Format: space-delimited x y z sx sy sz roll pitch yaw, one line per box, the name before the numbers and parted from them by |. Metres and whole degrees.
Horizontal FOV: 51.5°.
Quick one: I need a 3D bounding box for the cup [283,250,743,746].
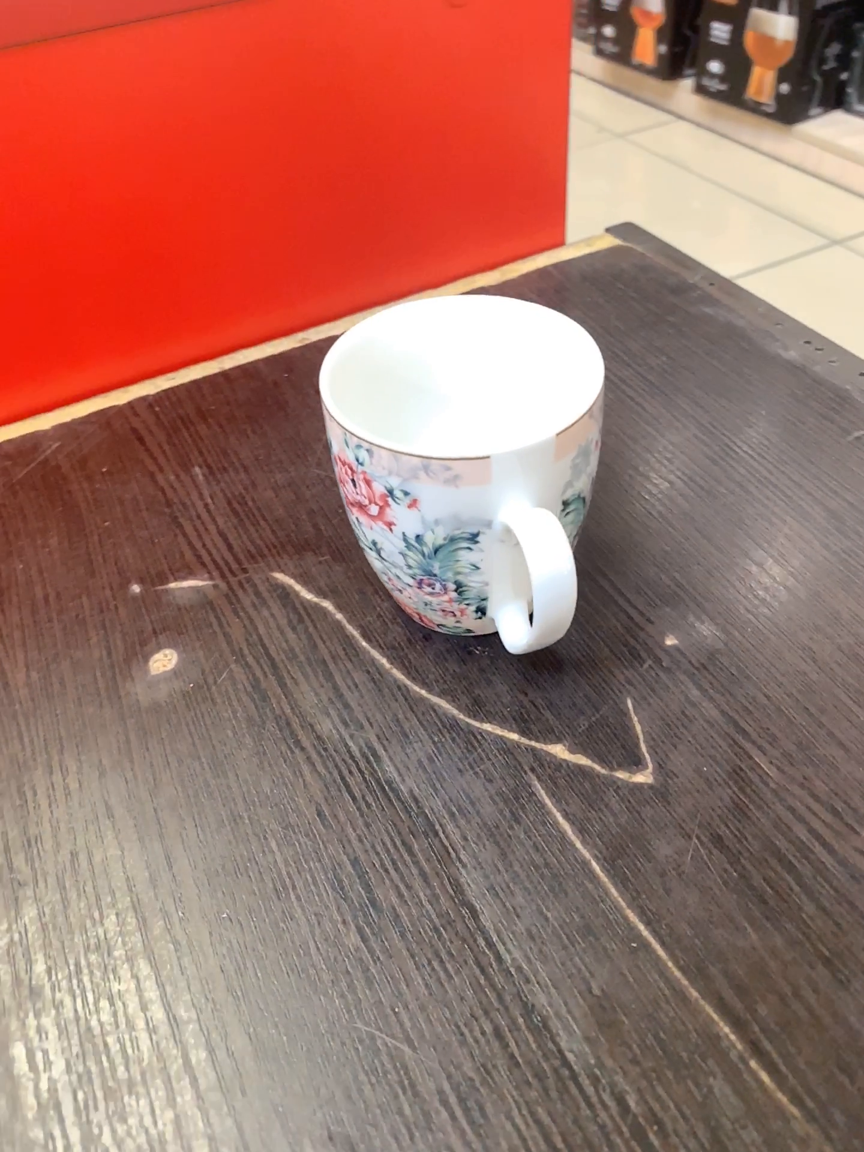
cup | 0.015 -0.028 0.252 0.080 0.070 0.110 -16 45 -11
